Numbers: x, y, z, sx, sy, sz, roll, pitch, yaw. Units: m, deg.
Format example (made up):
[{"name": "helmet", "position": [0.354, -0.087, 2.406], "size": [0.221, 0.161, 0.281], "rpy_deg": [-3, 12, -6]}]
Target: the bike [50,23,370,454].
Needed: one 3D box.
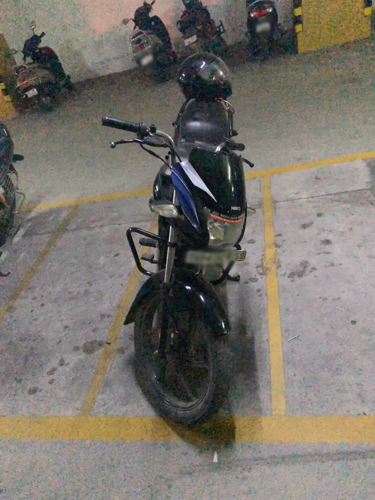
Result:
[{"name": "bike", "position": [0.161, -0.188, 1.881], "size": [0.767, 1.156, 1.725], "rpy_deg": [-10, 39, 10]}]
